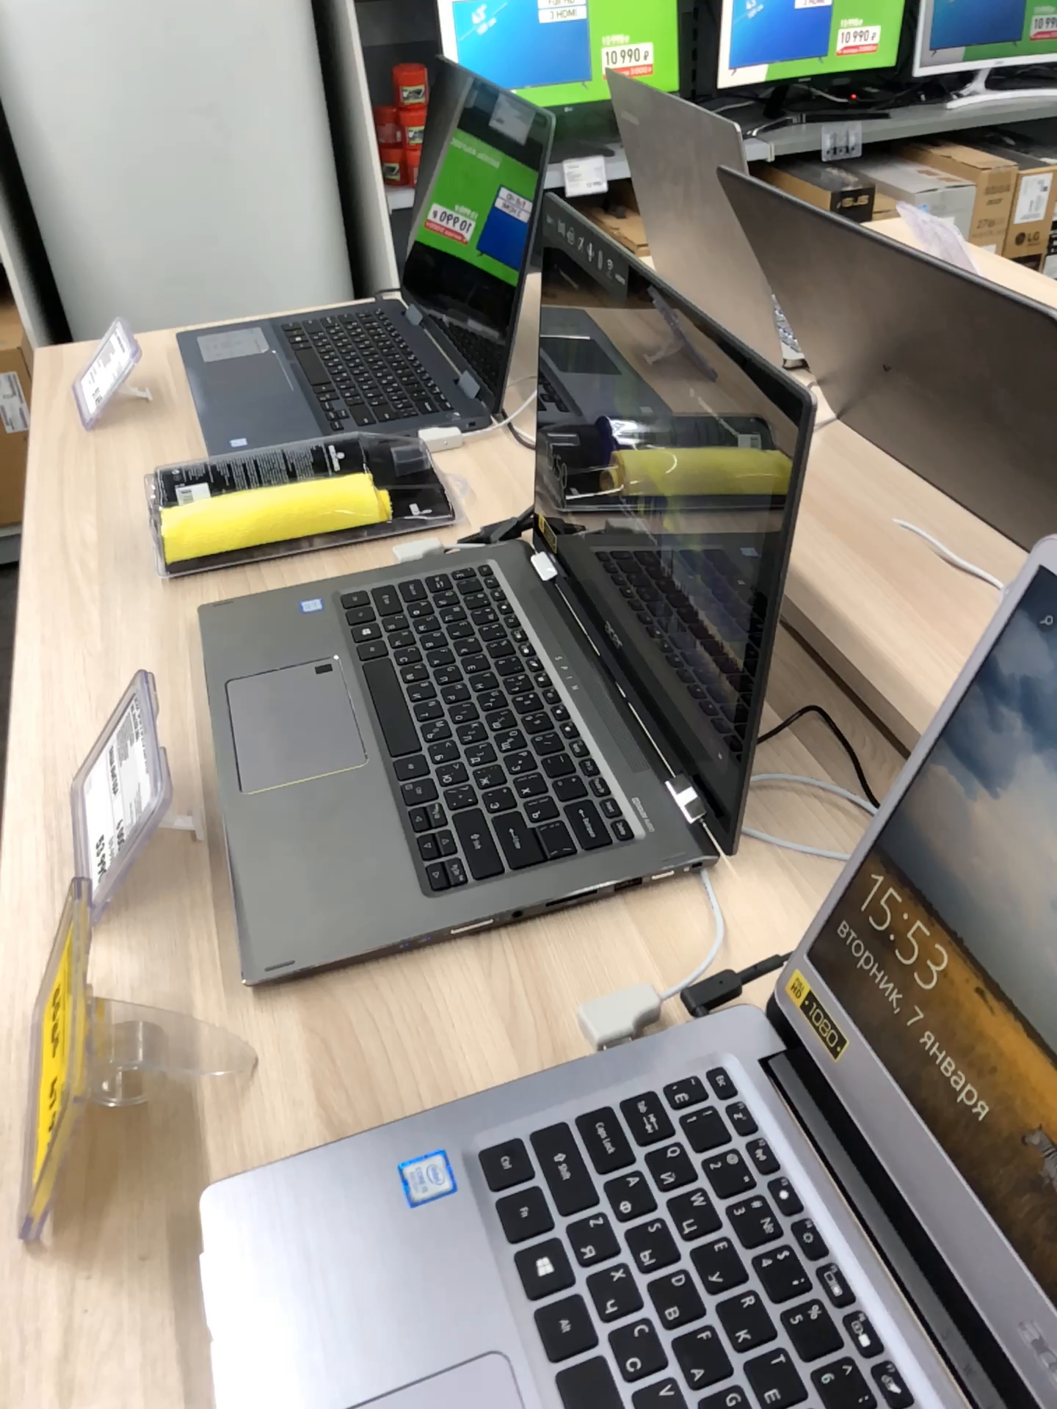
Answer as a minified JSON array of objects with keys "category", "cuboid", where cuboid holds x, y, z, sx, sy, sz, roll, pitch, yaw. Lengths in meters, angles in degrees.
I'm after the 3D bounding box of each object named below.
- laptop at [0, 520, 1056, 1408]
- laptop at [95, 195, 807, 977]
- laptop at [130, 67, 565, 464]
[{"category":"laptop","cuboid":[0.058,0.130,0.275,0.298,0.196,0.271,-14,36,-13]},{"category":"laptop","cuboid":[-0.057,-0.086,0.574,0.245,0.215,0.316,-12,37,-11]},{"category":"laptop","cuboid":[-0.165,-0.397,1.004,0.288,0.215,0.341,-13,36,-11]}]
